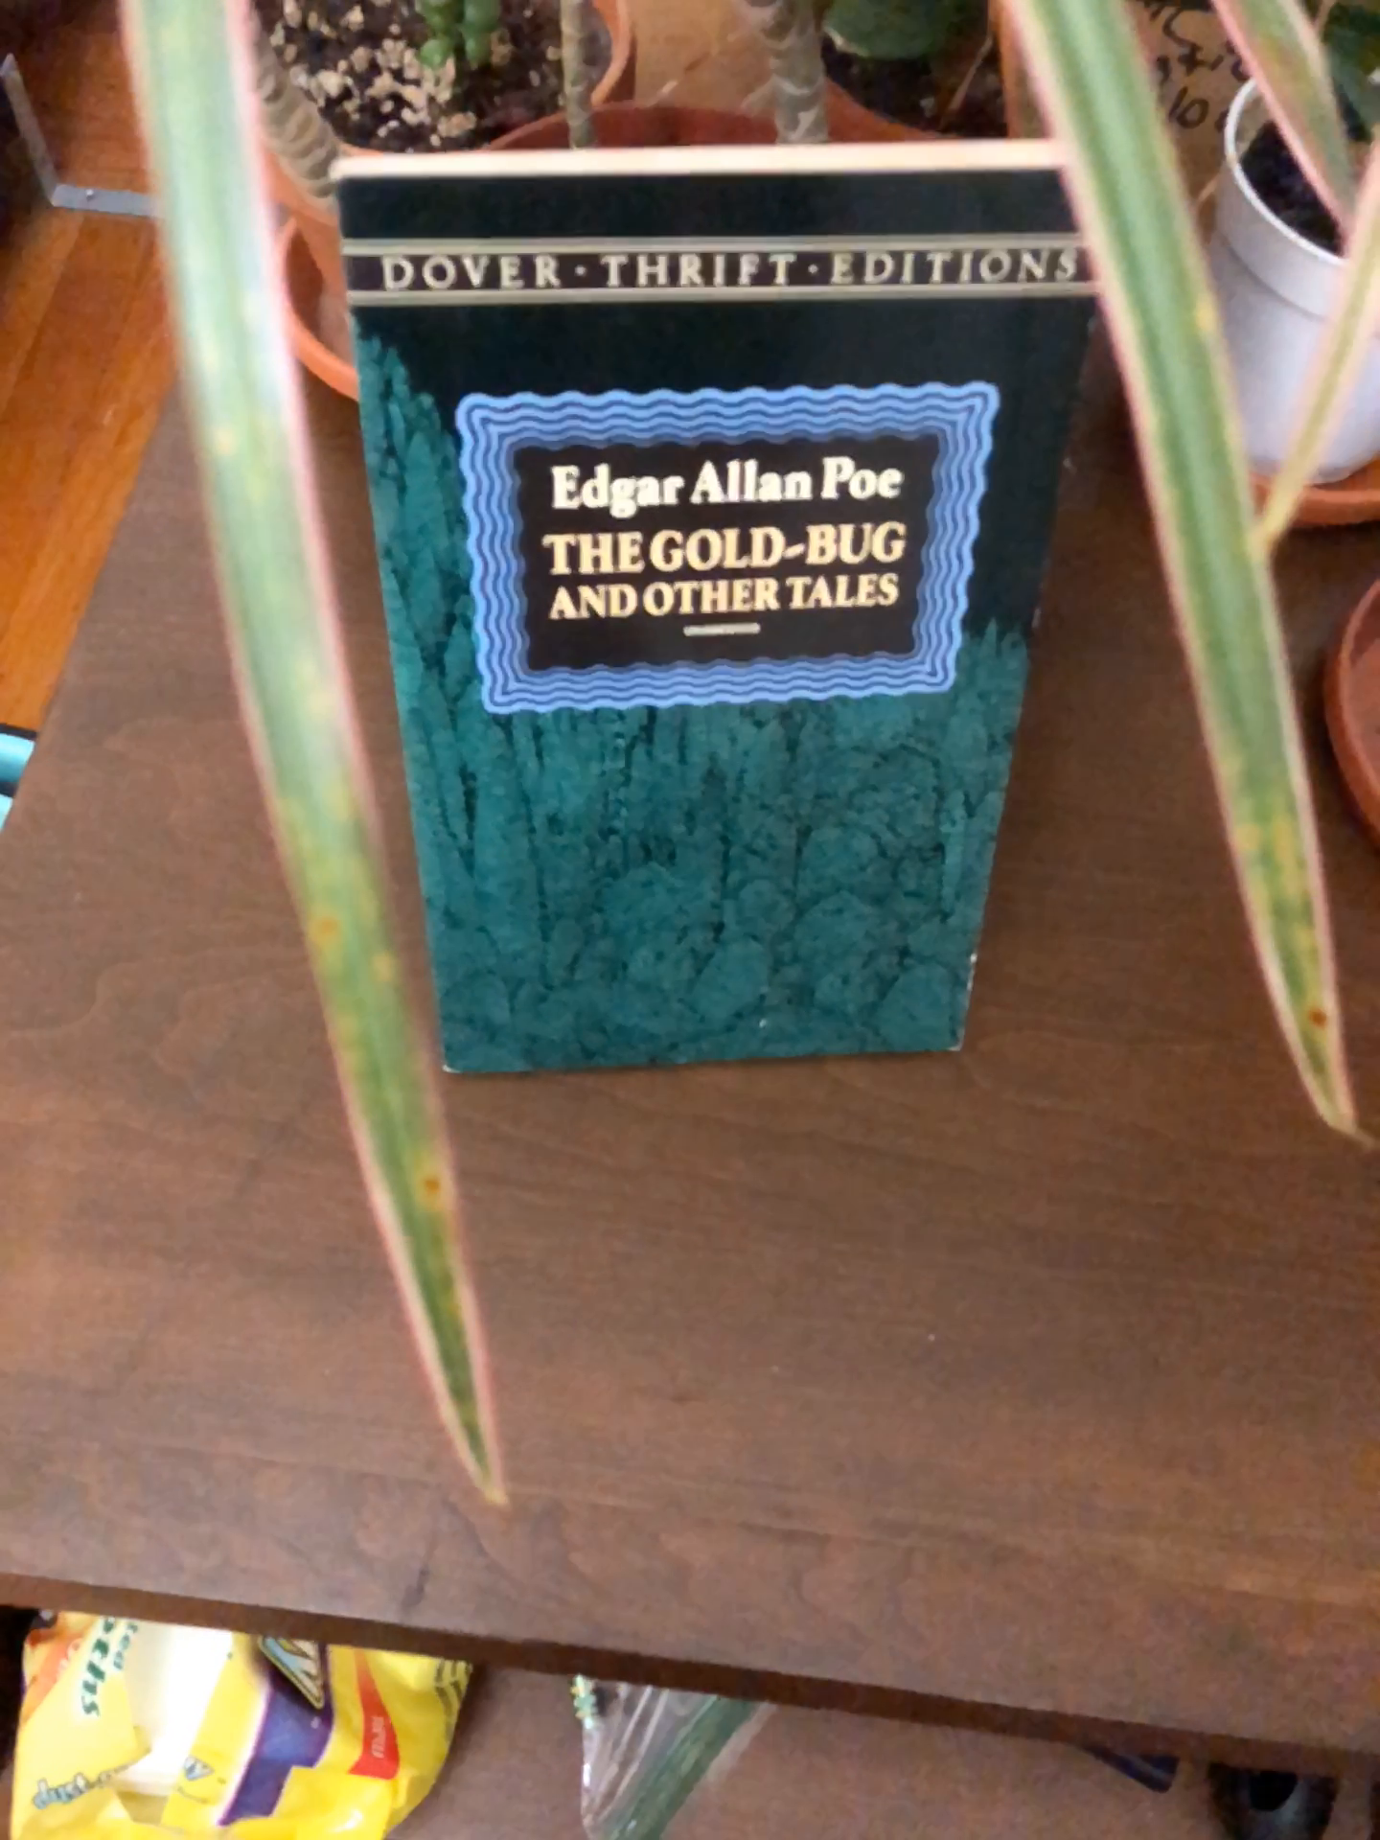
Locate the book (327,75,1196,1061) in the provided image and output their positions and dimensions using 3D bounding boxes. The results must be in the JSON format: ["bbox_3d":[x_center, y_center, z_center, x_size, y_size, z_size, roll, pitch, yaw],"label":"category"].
[{"bbox_3d":[0.011,-0.056,0.316,0.140,0.209,0.020,-3,39,-5],"label":"book"}]
